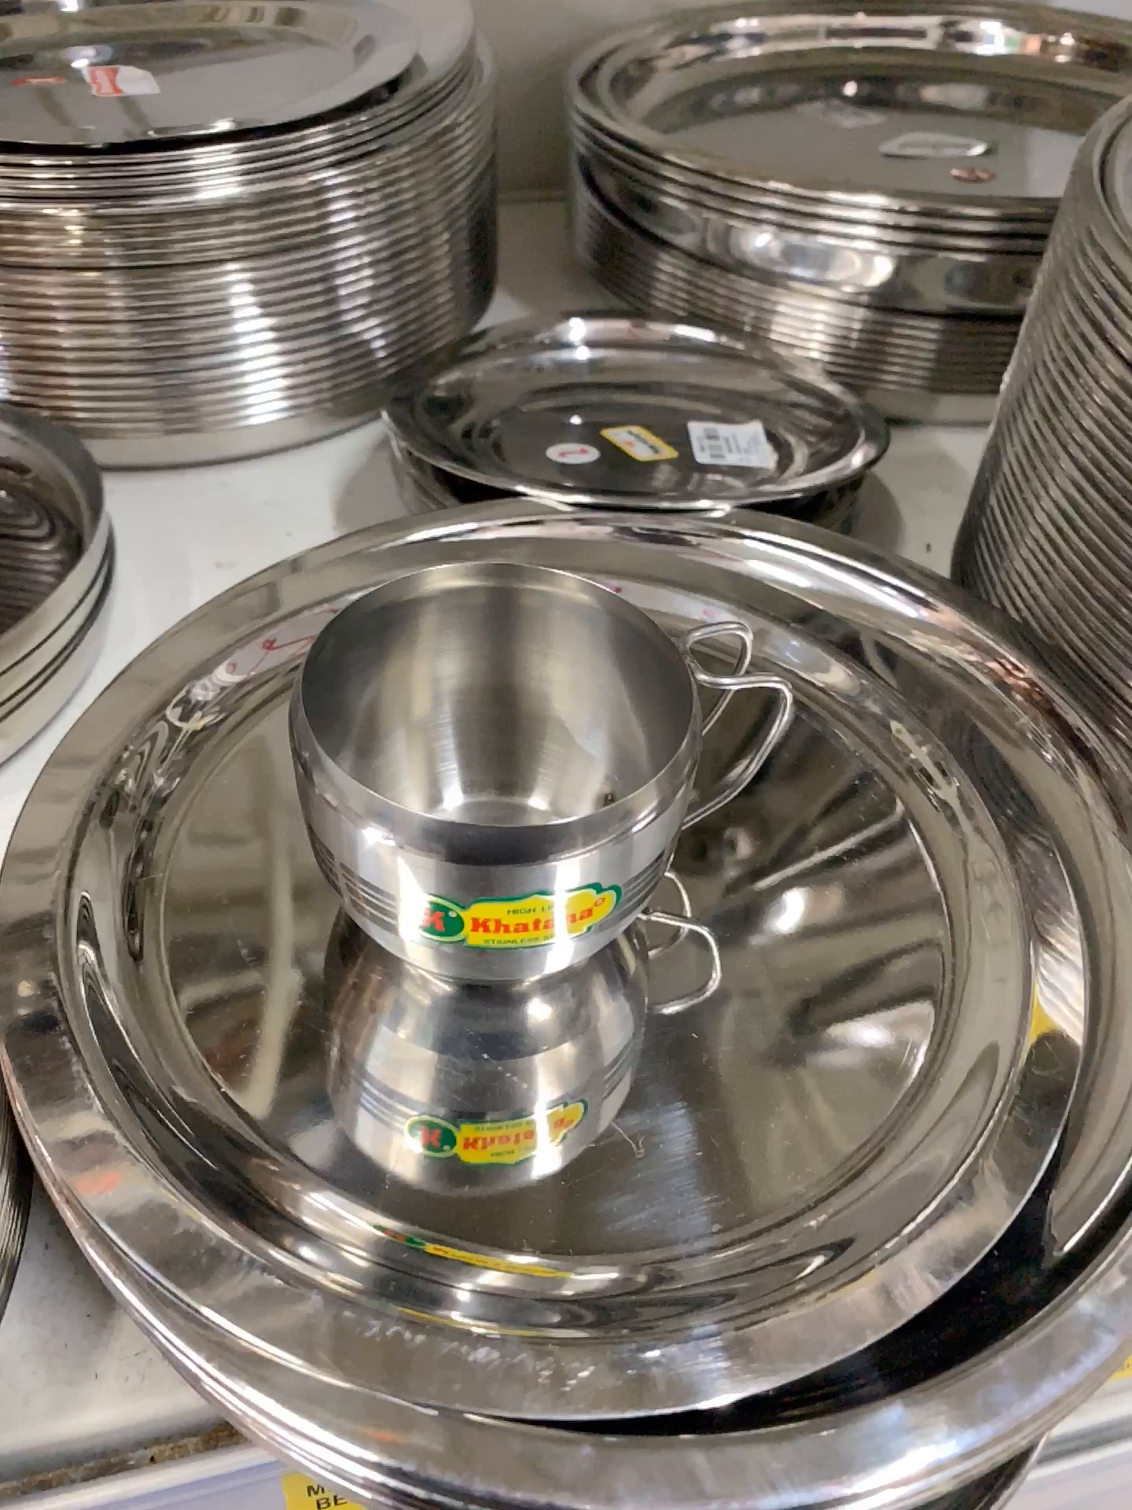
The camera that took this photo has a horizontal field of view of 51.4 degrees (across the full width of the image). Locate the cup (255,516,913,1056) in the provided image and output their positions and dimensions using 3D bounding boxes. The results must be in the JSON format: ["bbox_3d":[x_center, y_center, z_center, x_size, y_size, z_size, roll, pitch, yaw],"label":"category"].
[{"bbox_3d":[-0.001,0.001,0.207,0.090,0.040,0.070,-12,47,-14],"label":"cup"}]
